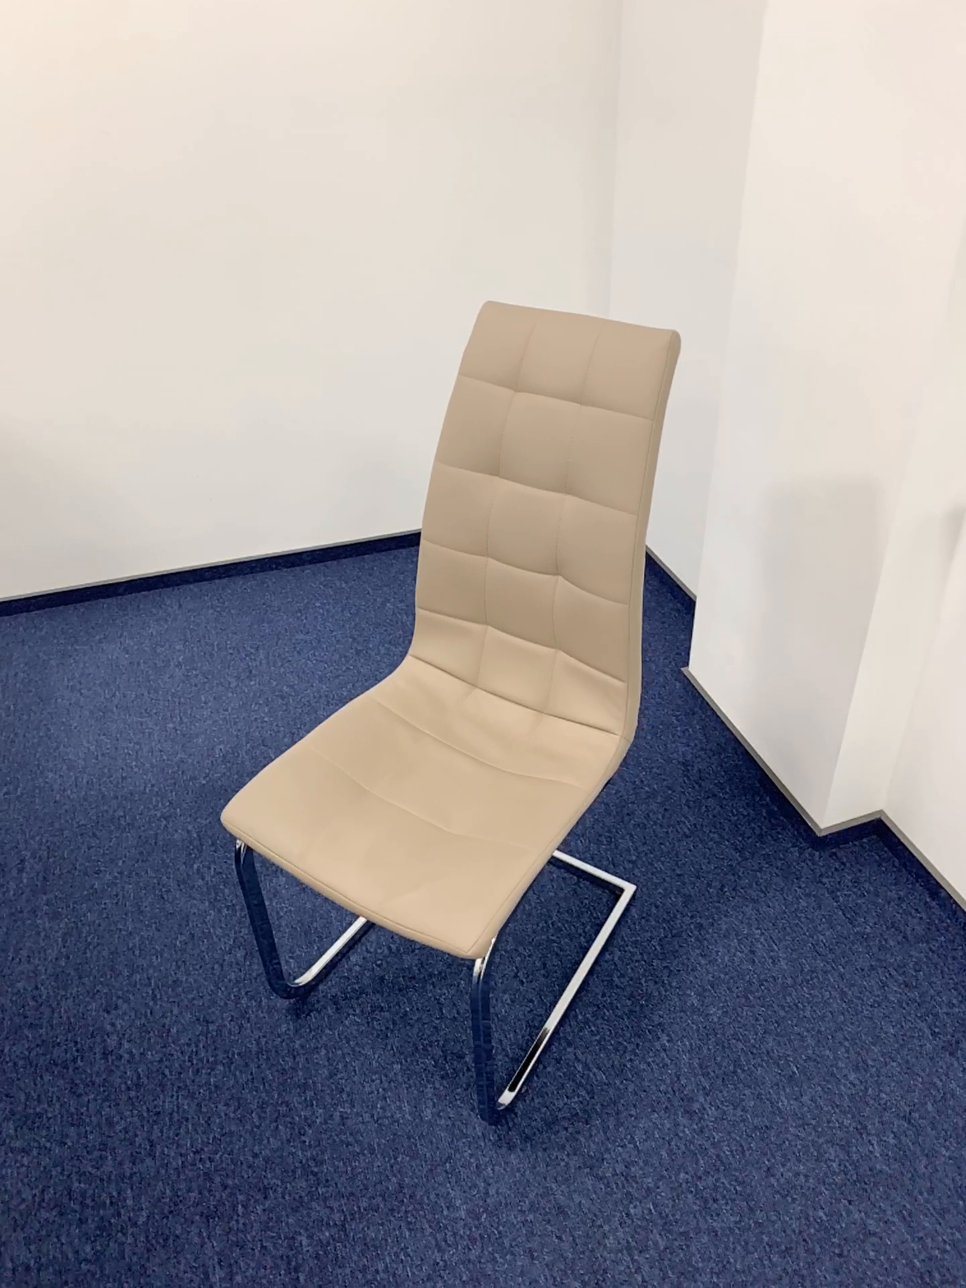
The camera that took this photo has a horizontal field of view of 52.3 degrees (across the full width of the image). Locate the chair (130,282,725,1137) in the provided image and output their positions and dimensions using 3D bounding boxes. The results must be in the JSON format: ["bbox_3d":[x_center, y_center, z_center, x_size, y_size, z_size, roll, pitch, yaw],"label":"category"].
[{"bbox_3d":[-0.025,0.091,1.382,0.441,0.985,0.532,19,40,28],"label":"chair"}]
